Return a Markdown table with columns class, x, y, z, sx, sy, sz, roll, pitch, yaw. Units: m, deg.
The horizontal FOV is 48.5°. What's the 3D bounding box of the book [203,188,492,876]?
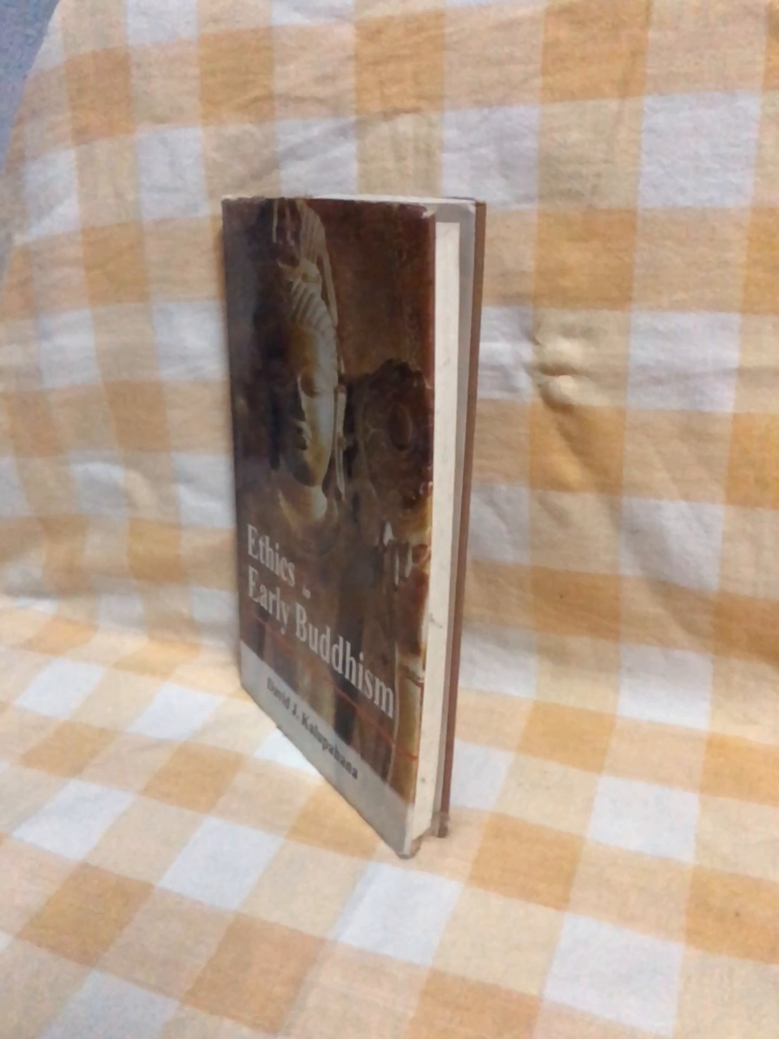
| class | x | y | z | sx | sy | sz | roll | pitch | yaw |
| --- | --- | --- | --- | --- | --- | --- | --- | --- | --- |
| book | -0.025 | -0.005 | 0.338 | 0.020 | 0.229 | 0.160 | -13 | 25 | -31 |
